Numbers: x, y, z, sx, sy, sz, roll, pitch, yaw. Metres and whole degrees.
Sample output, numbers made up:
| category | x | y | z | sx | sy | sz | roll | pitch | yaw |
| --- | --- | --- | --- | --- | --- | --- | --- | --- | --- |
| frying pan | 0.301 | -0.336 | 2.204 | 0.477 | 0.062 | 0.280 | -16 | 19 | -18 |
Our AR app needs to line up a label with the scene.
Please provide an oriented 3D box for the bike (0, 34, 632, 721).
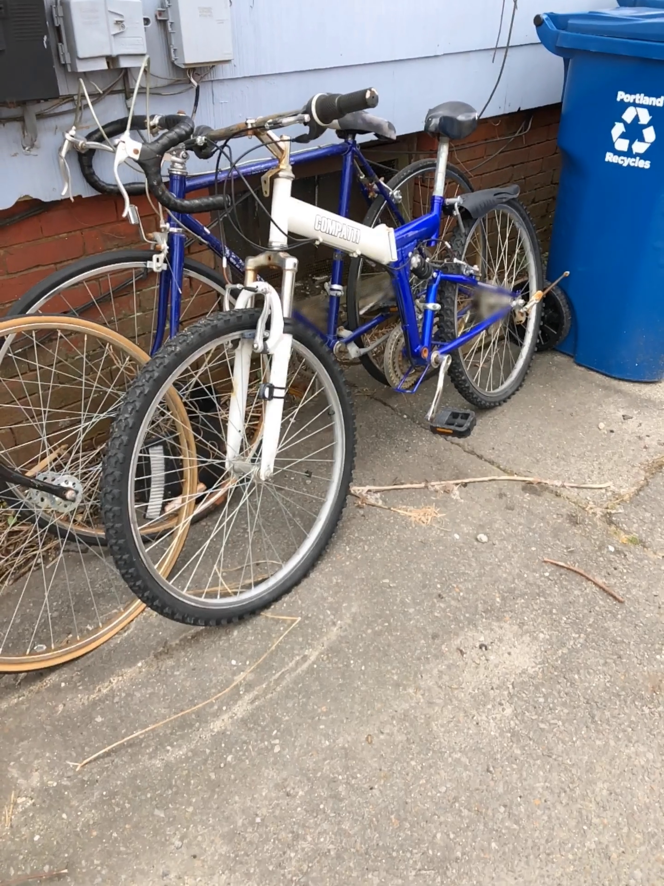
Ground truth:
| category | x | y | z | sx | sy | sz | roll | pitch | yaw |
| --- | --- | --- | --- | --- | --- | --- | --- | --- | --- |
| bike | 0.074 | -0.365 | 1.887 | 0.563 | 0.978 | 1.736 | 23 | 43 | 31 |
